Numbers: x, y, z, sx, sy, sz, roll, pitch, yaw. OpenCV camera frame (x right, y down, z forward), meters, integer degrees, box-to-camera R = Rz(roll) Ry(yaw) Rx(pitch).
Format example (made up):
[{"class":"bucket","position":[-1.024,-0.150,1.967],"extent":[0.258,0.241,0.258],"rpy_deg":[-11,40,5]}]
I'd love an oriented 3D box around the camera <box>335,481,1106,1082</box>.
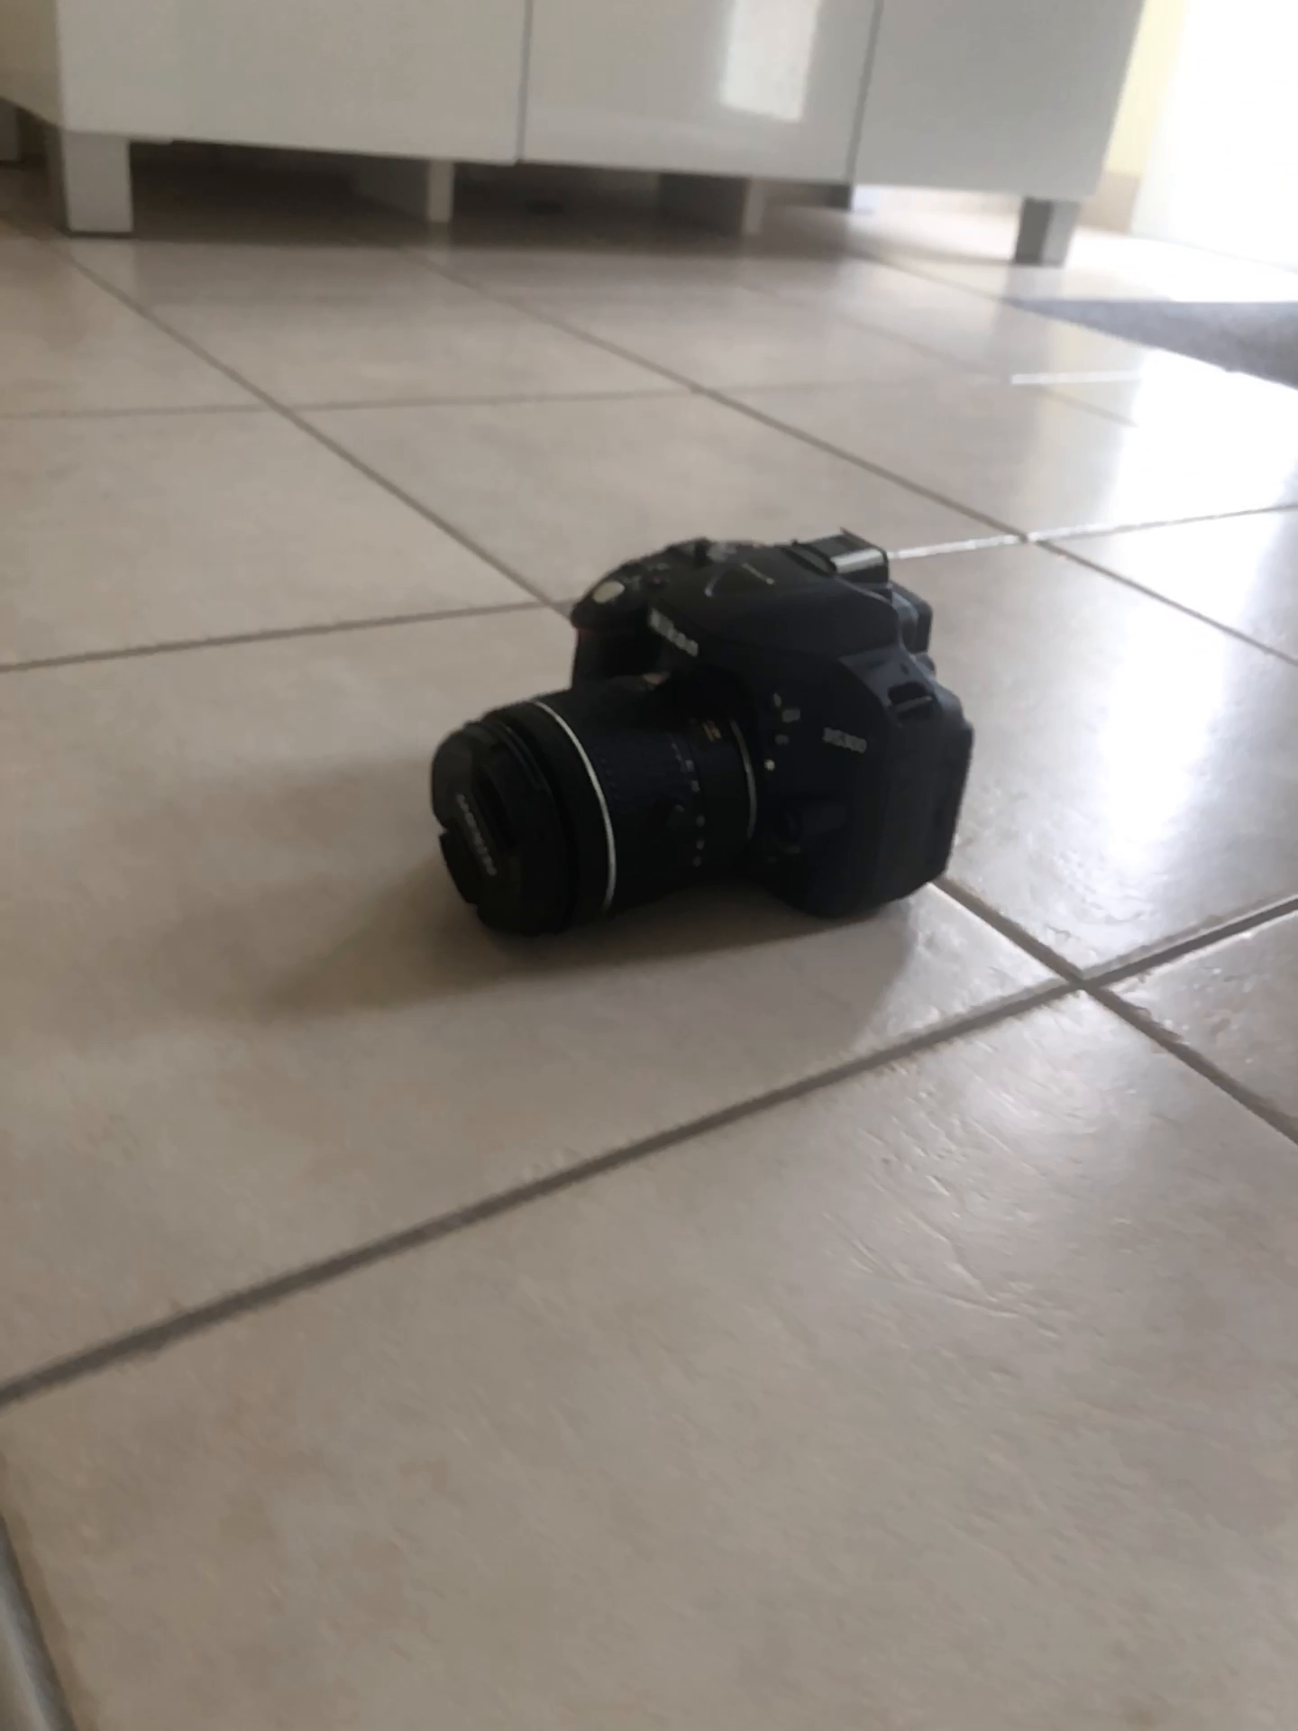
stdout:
[{"class":"camera","position":[0.014,-0.038,0.416],"extent":[0.161,0.089,0.140],"rpy_deg":[-15,38,-30]}]
